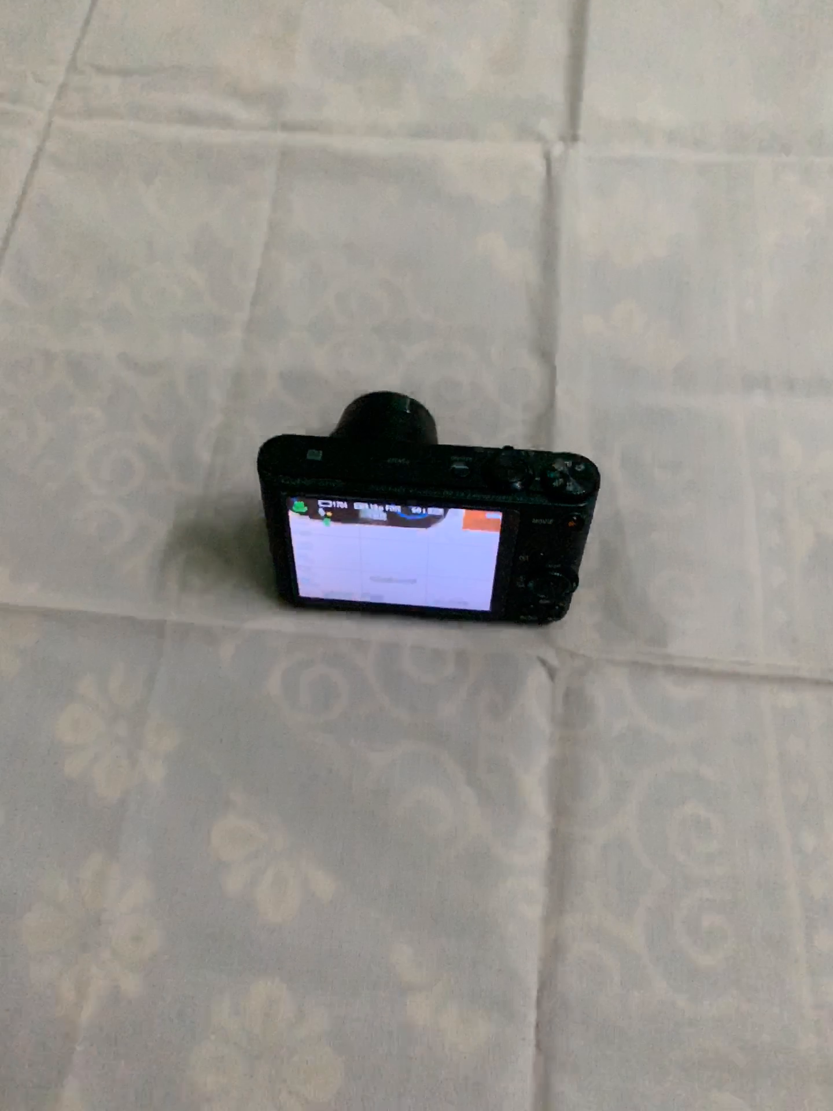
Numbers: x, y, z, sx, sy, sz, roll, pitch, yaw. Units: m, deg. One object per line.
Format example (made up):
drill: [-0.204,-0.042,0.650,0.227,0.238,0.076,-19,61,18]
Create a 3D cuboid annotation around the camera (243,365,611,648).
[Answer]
camera: [0.005,-0.015,0.276,0.100,0.060,0.058,4,55,2]
